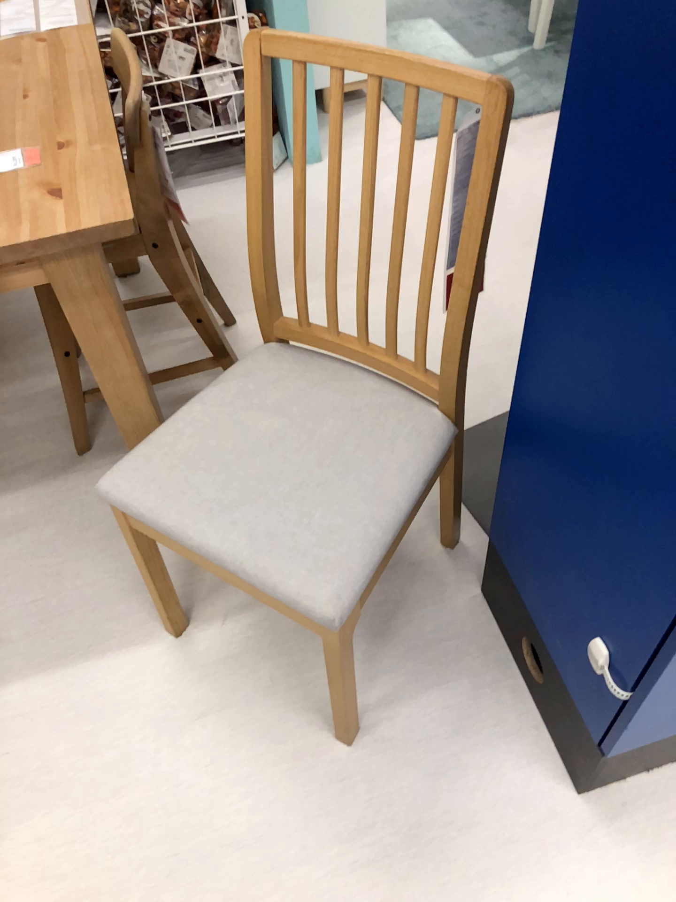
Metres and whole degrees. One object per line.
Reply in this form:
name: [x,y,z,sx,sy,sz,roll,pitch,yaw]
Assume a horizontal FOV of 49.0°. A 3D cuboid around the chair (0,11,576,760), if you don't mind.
chair: [-0.049,-0.039,1.070,0.451,0.855,0.512,25,57,23]
